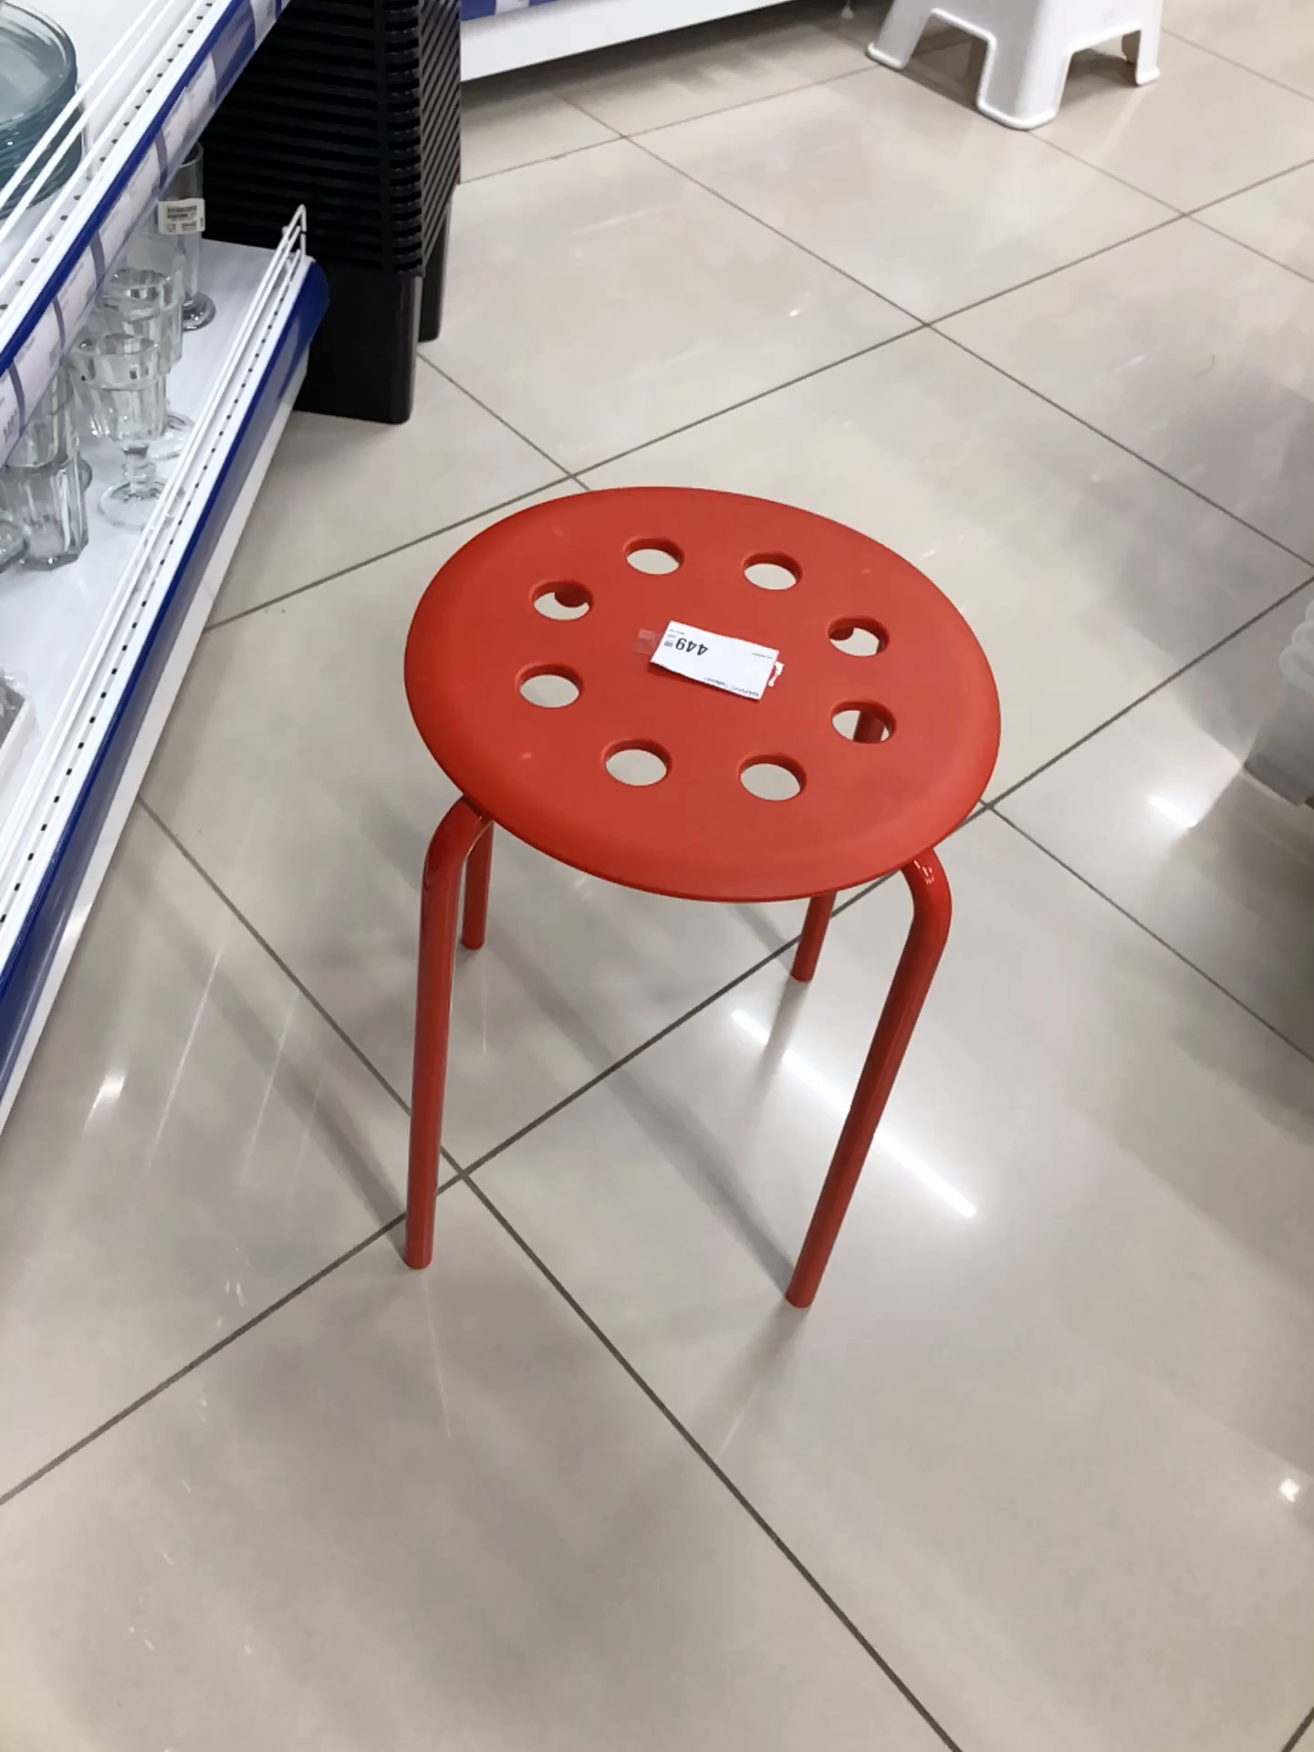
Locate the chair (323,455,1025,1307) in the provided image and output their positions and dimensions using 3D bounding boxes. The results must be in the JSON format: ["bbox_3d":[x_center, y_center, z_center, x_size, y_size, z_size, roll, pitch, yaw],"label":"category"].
[{"bbox_3d":[-0.001,0.020,0.907,0.320,0.405,0.315,7,50,-2],"label":"chair"}]
